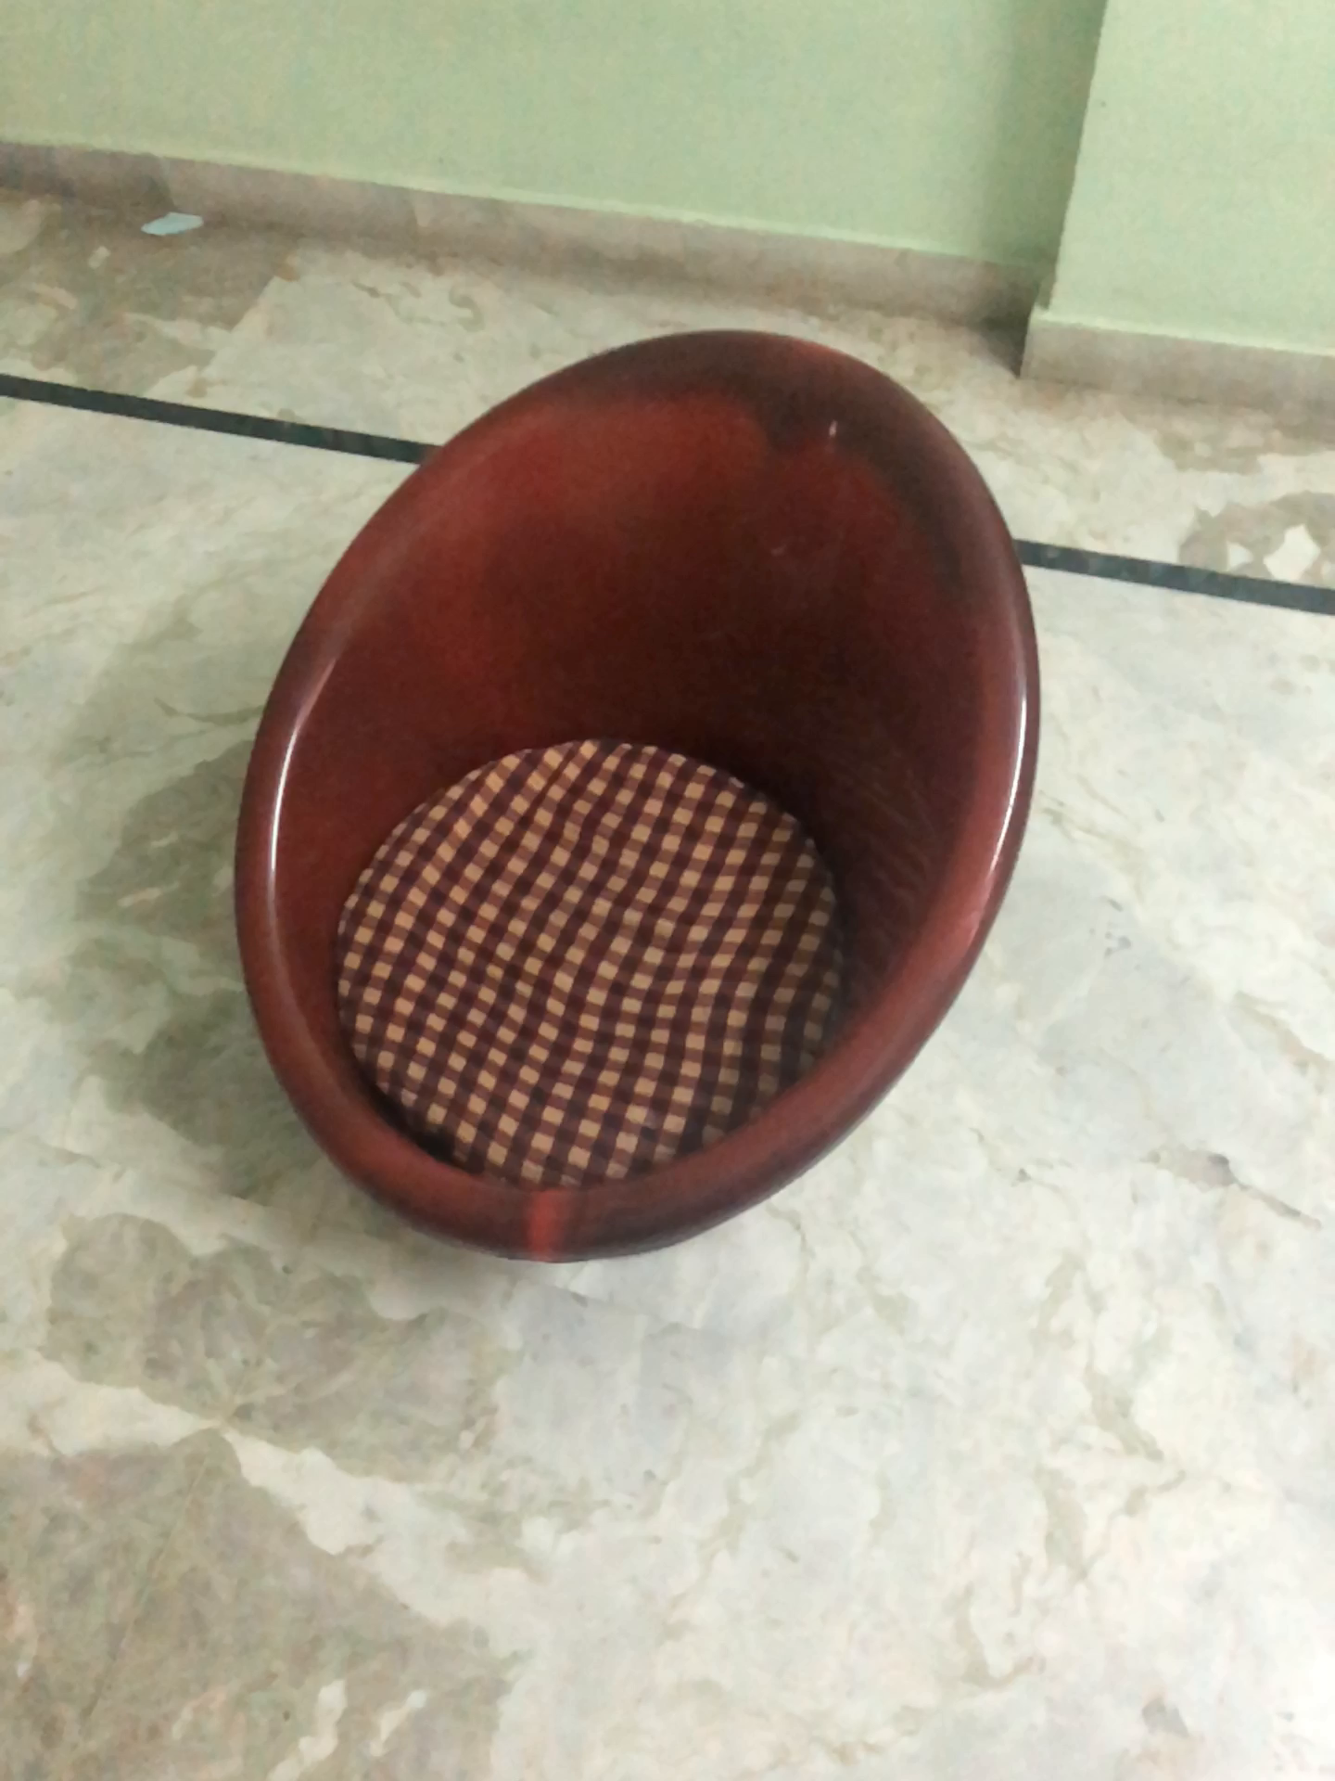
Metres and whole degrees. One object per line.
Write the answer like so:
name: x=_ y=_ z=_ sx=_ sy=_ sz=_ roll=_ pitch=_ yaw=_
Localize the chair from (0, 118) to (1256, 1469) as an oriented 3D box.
chair: x=-0.056 y=-0.088 z=1.097 sx=0.671 sy=0.547 sz=0.632 roll=22 pitch=59 yaw=18
